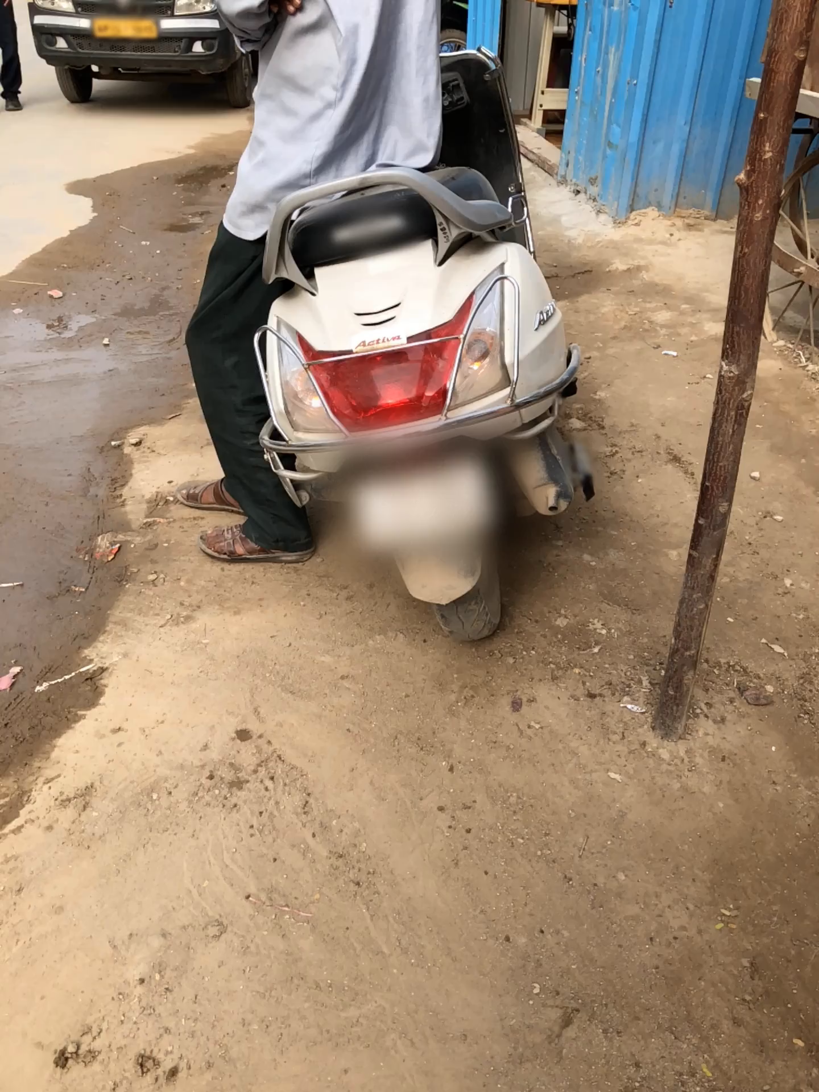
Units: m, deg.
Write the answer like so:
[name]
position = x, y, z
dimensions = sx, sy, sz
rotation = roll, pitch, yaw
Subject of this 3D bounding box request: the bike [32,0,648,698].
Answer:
[bike]
position = -0.104, -0.621, 1.937
dimensions = 0.655, 1.112, 1.585
rotation = 0, 32, -2
